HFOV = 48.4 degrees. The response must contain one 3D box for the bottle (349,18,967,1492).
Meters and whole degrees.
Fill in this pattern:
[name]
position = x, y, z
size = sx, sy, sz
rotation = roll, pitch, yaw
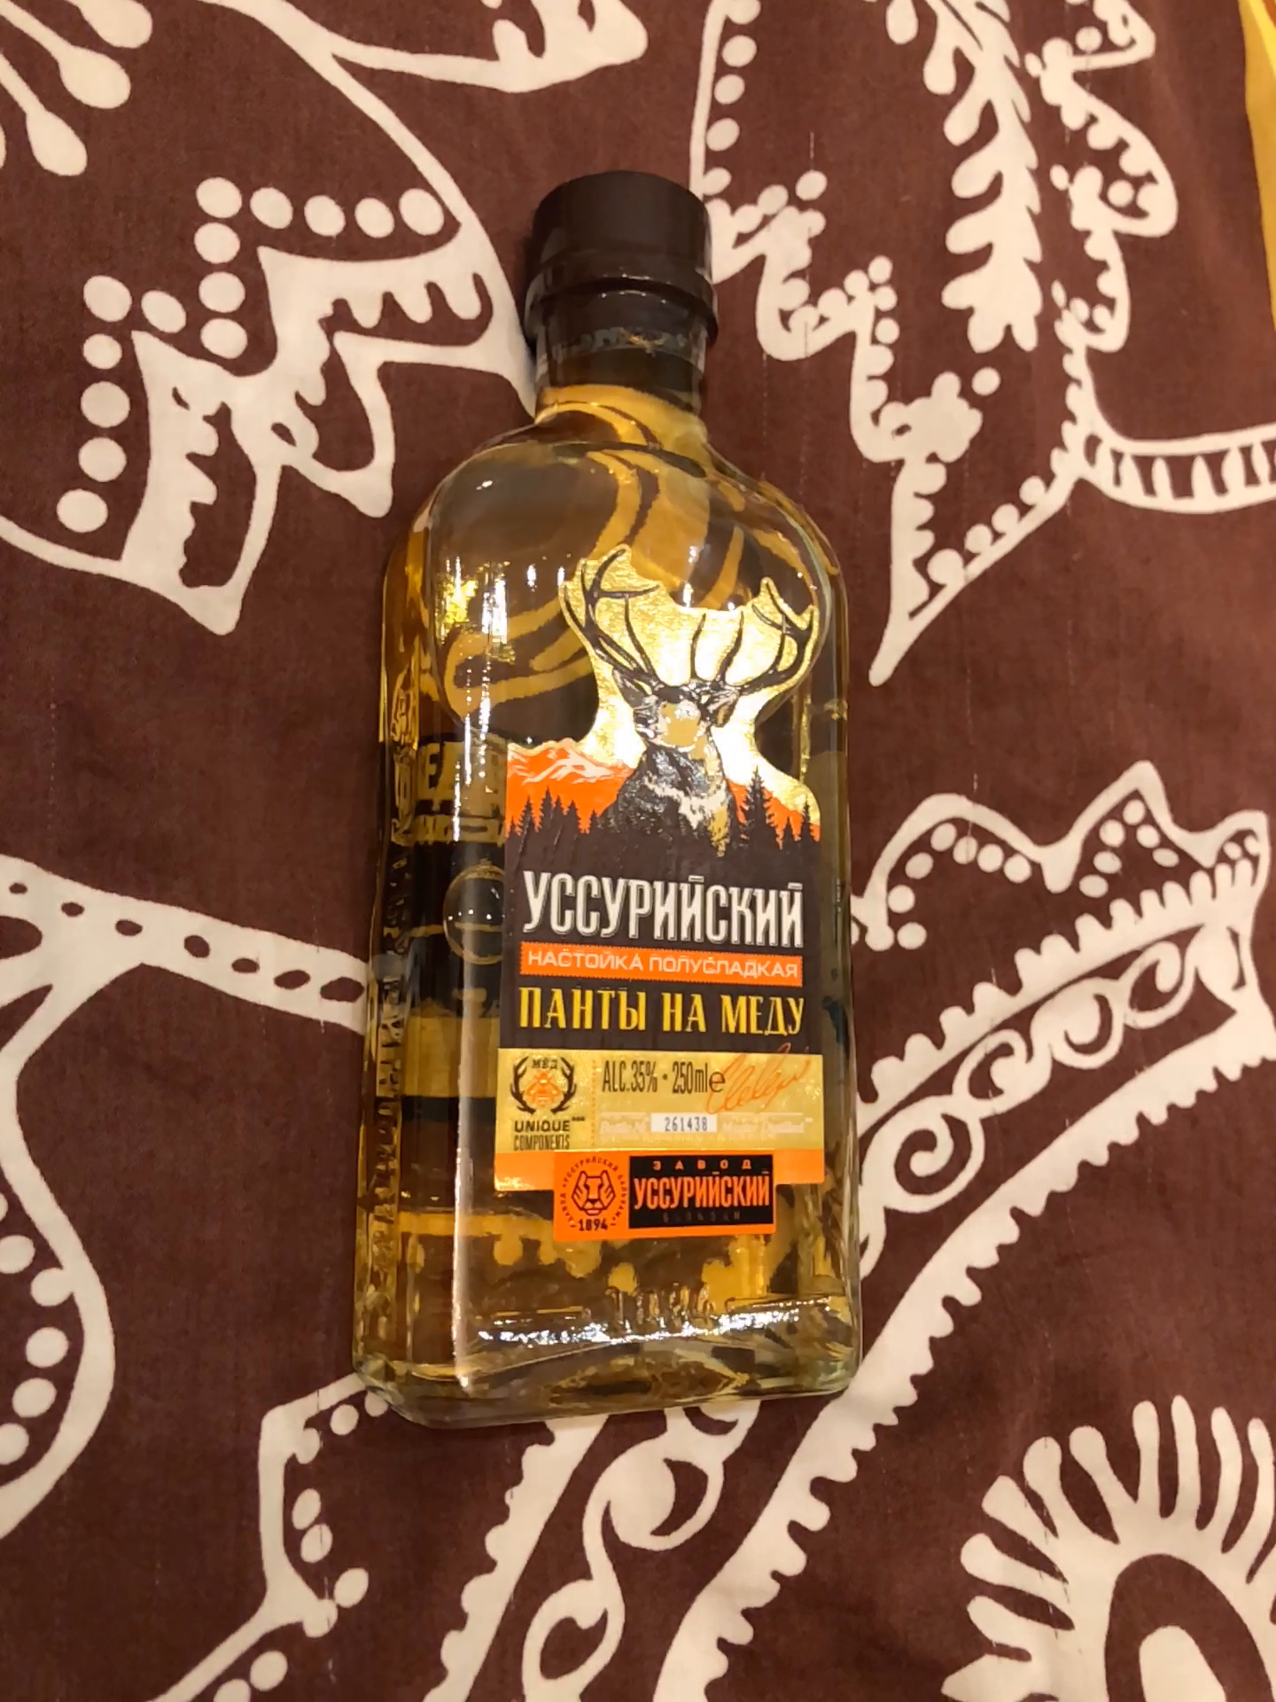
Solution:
[bottle]
position = 0.000, -0.015, 0.213
size = 0.070, 0.050, 0.190
rotation = 5, 77, -22
